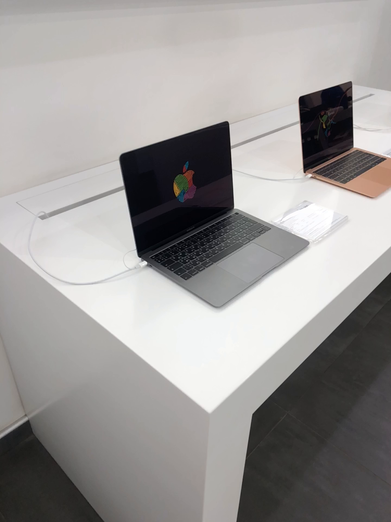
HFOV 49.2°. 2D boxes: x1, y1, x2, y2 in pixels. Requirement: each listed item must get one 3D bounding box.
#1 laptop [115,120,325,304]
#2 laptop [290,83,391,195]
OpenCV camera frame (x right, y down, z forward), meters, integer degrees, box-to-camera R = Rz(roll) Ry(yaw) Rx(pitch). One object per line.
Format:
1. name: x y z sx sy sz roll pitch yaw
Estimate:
1. laptop: 0.048 -0.116 0.827 0.250 0.194 0.285 29 42 32
2. laptop: 0.463 -0.356 1.192 0.294 0.184 0.260 -28 44 -37
